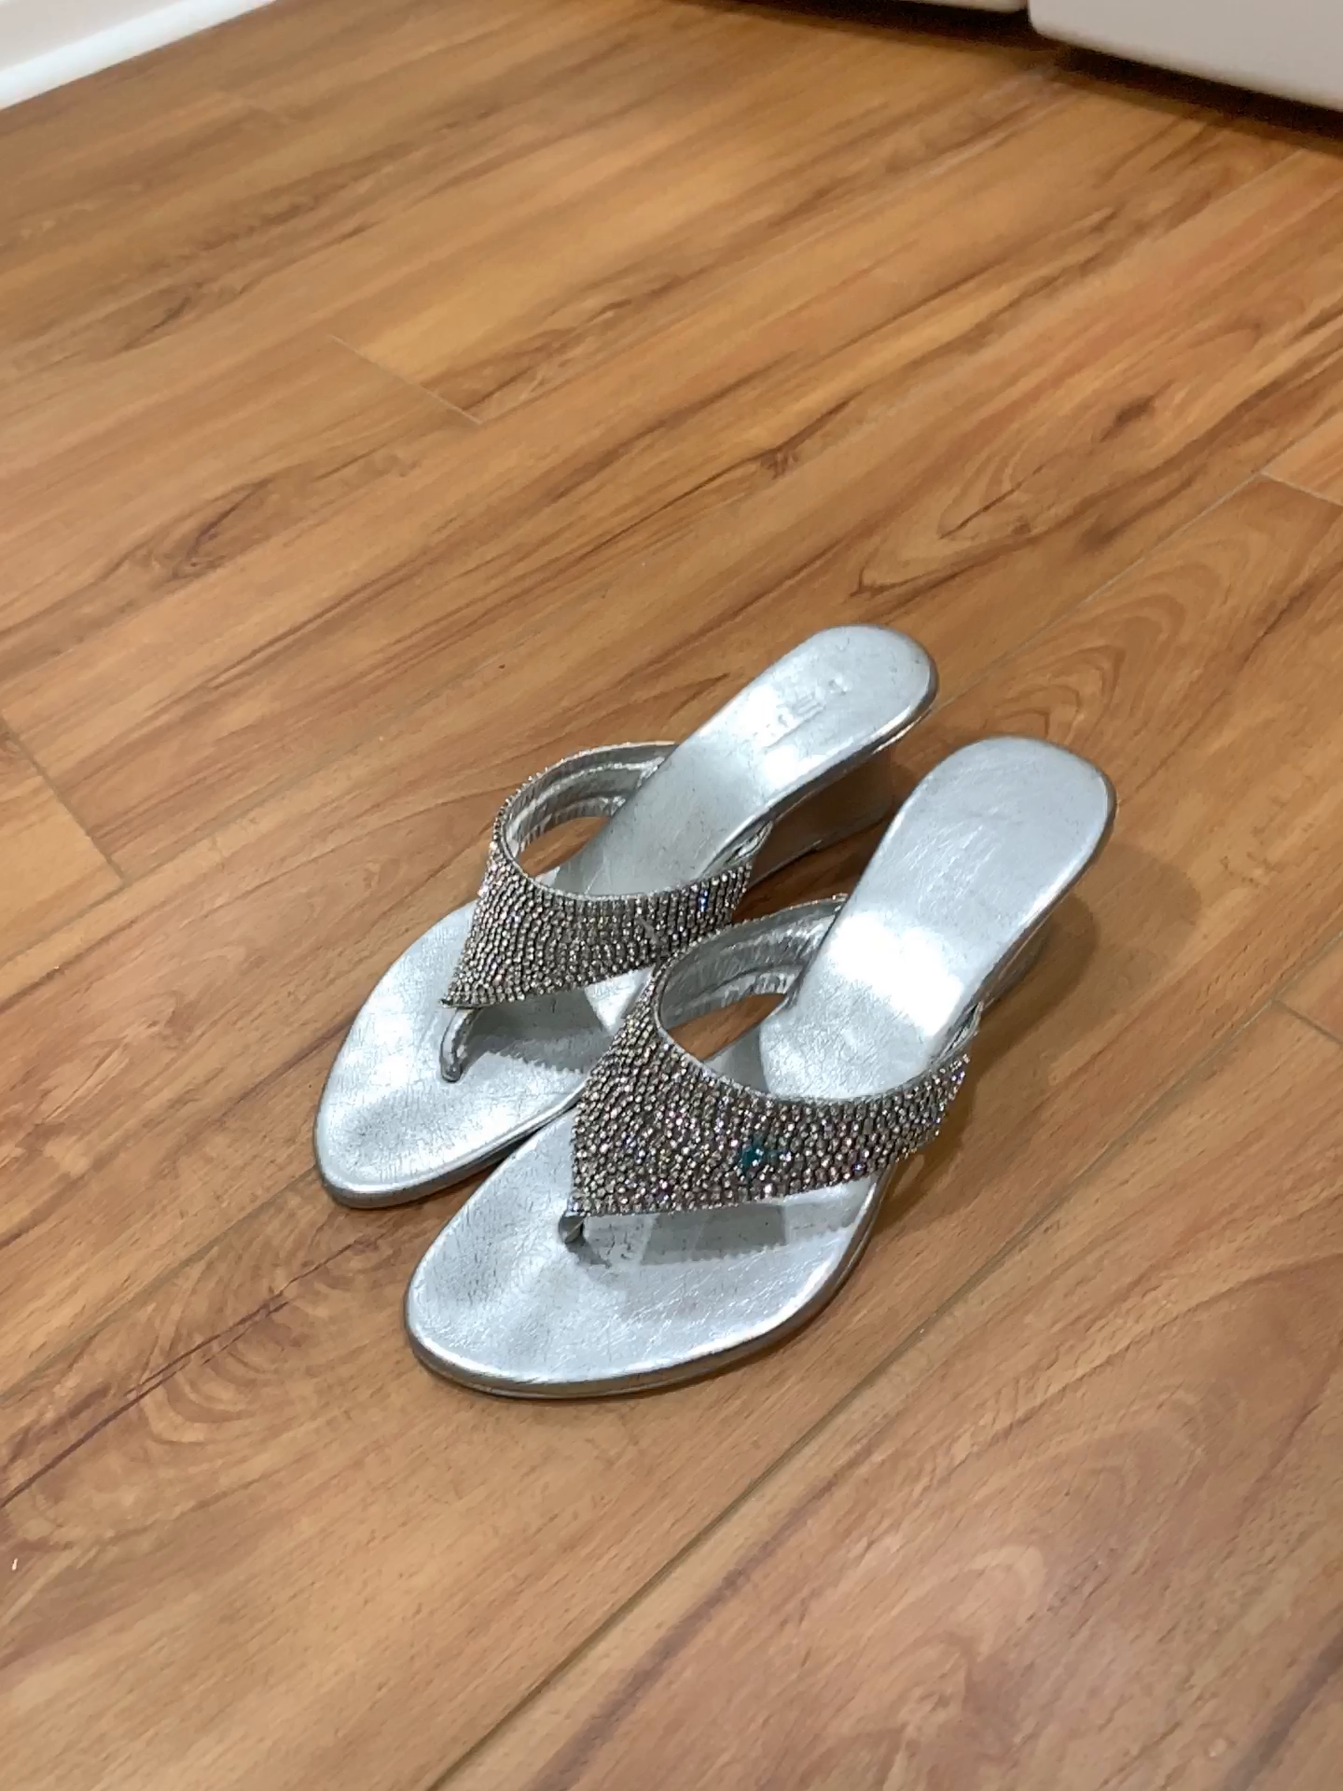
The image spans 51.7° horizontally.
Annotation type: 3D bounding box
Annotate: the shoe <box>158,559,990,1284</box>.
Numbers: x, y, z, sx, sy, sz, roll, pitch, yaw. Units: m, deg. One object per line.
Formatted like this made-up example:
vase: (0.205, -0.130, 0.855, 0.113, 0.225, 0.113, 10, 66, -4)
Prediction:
shoe: (-0.019, -0.001, 0.413, 0.228, 0.073, 0.085, -34, 51, -18)

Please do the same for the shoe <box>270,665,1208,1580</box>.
shoe: (0.027, 0.046, 0.363, 0.228, 0.073, 0.095, -38, 52, -21)
